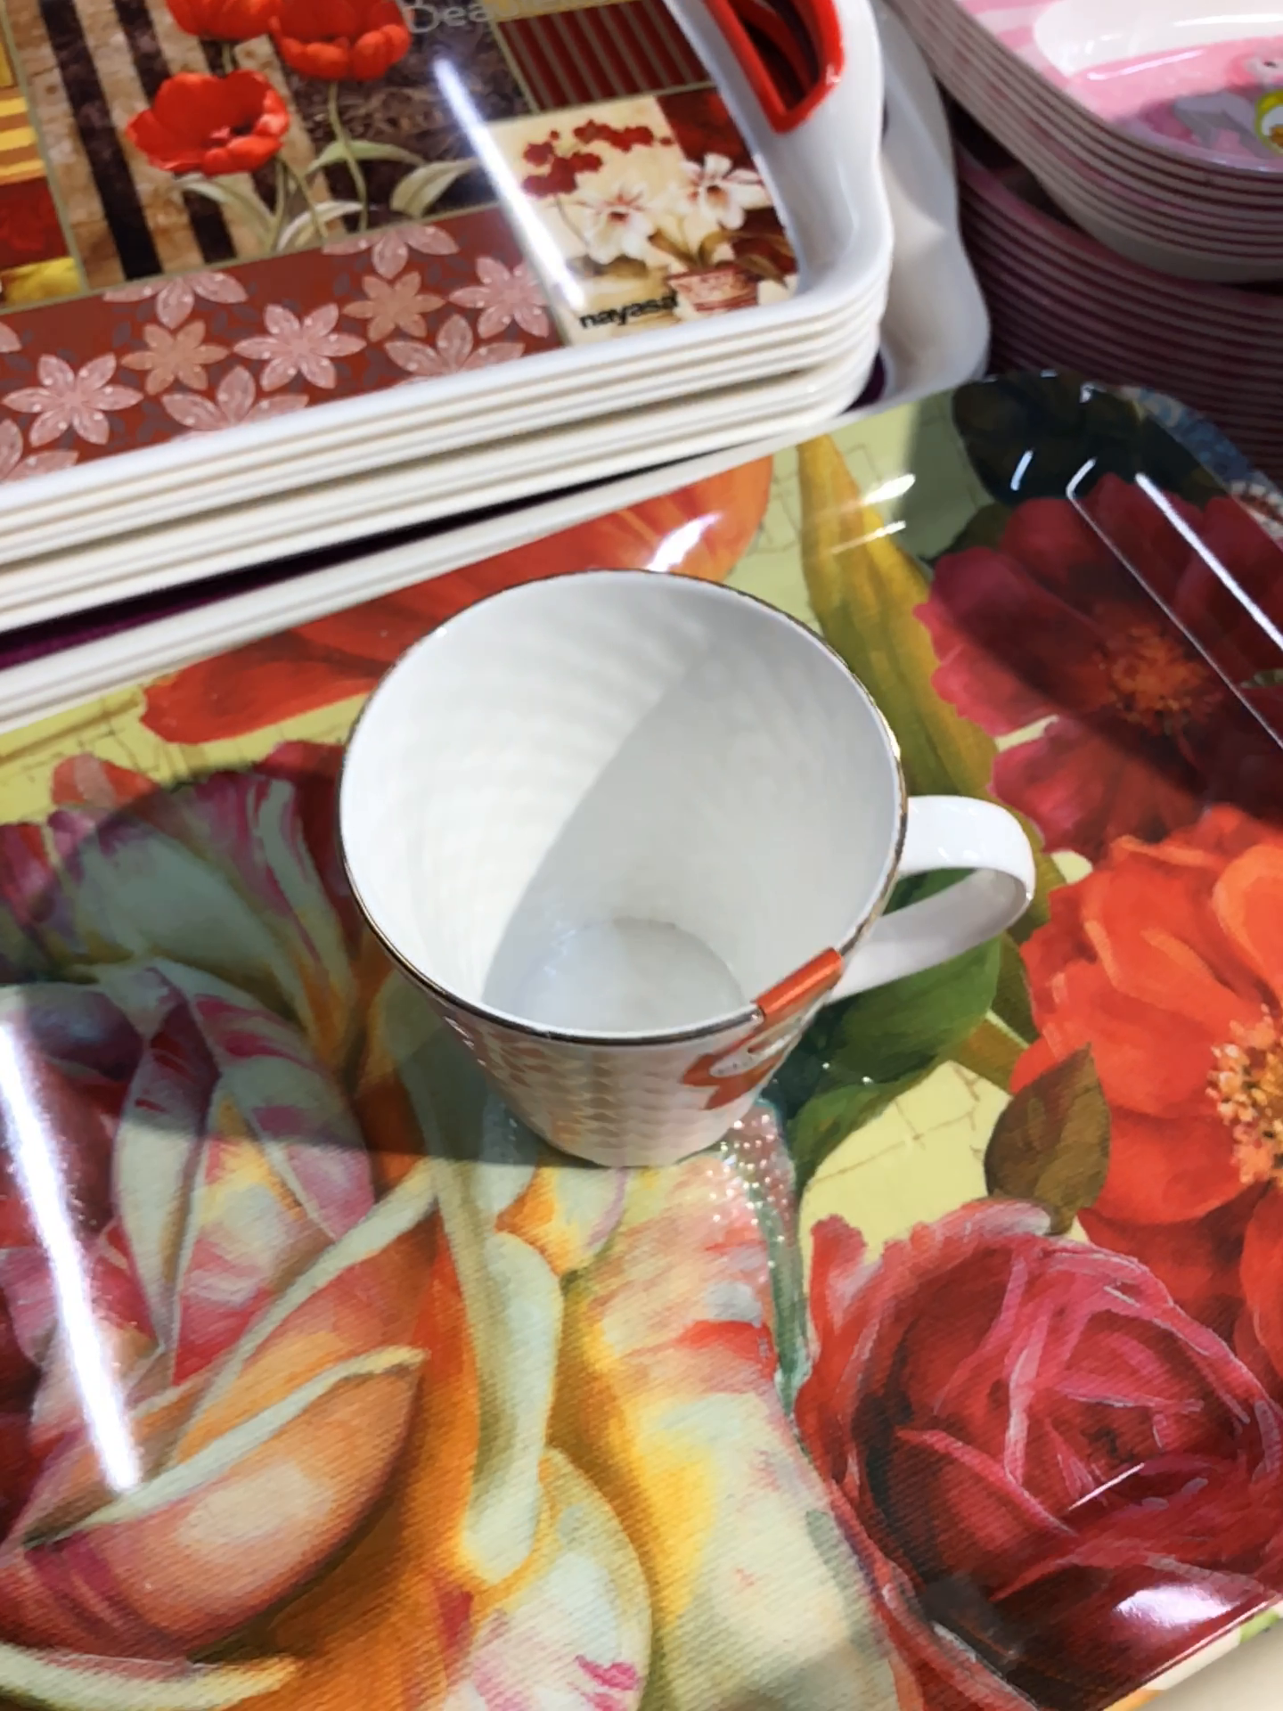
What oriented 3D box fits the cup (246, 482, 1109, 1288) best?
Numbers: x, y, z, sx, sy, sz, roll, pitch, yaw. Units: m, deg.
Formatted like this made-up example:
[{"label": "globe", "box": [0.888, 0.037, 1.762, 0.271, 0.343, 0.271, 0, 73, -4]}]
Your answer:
[{"label": "cup", "box": [-0.001, 0.006, 0.261, 0.120, 0.090, 0.100, -7, 56, -5]}]
